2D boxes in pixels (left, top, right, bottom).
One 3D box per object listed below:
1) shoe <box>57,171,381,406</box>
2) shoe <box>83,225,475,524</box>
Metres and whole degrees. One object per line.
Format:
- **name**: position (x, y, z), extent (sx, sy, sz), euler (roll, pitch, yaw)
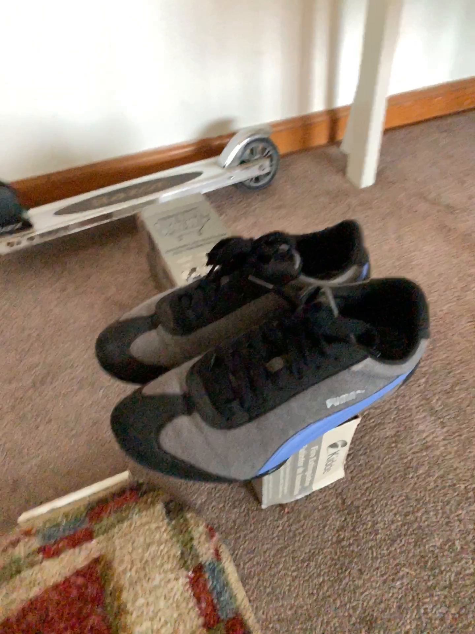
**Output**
- **shoe**: position (-0.013, -0.031, 0.410), extent (0.230, 0.089, 0.101), euler (-19, 47, -14)
- **shoe**: position (0.030, 0.033, 0.356), extent (0.240, 0.099, 0.101), euler (-19, 47, -14)
